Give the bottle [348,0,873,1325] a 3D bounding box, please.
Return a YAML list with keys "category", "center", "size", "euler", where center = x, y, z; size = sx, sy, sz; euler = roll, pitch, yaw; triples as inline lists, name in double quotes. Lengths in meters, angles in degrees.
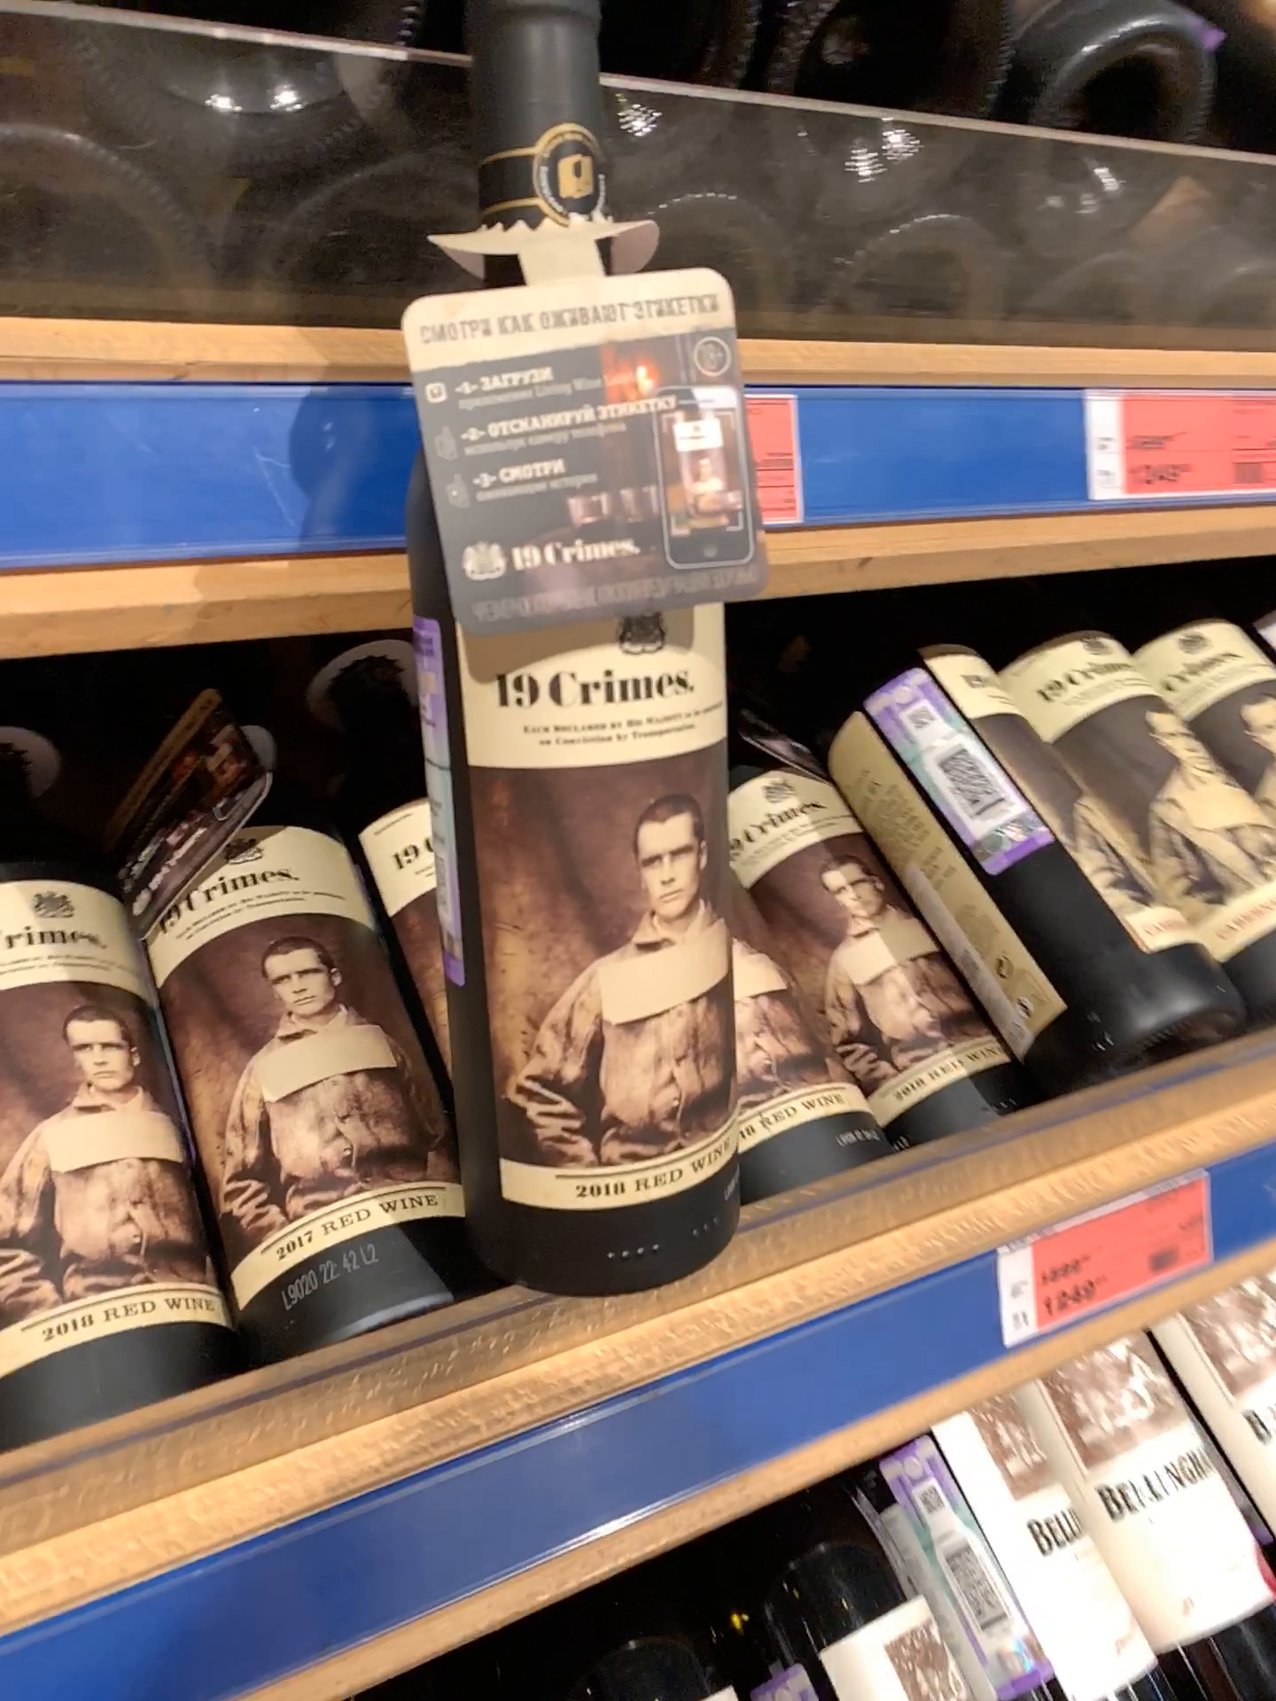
- category: "bottle"
  center: [-0.007, -0.048, 0.327]
  size: [0.087, 0.300, 0.081]
  euler: [-1, 15, 0]
